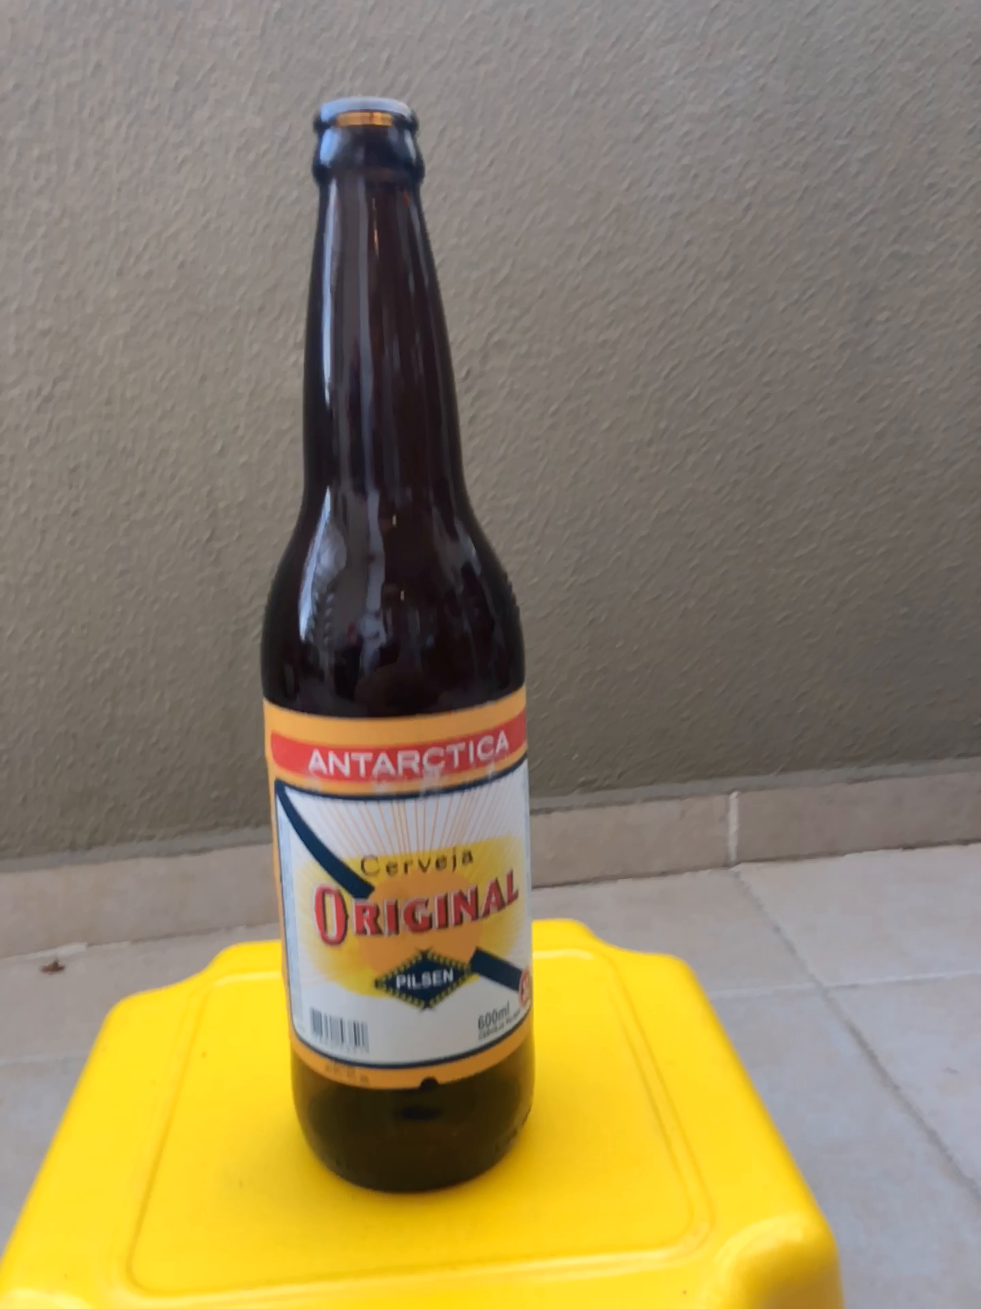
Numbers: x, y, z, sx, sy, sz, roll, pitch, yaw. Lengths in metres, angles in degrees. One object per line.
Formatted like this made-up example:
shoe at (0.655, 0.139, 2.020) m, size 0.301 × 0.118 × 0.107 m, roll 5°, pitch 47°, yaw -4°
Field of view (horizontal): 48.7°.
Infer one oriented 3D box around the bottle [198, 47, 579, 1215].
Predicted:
bottle at (-0.022, 0.000, 0.306) m, size 0.080 × 0.289 × 0.080 m, roll -1°, pitch 12°, yaw 0°
